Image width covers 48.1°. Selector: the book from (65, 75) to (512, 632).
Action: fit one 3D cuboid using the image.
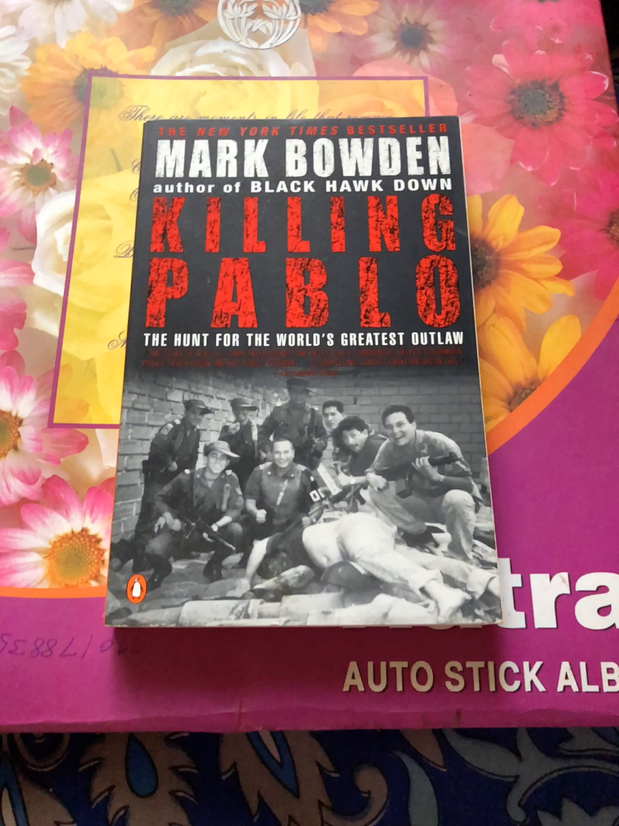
[{"bbox_3d":[-0.008,-0.032,0.284,0.150,0.030,0.230,-2,70,4],"label":"book"}]
